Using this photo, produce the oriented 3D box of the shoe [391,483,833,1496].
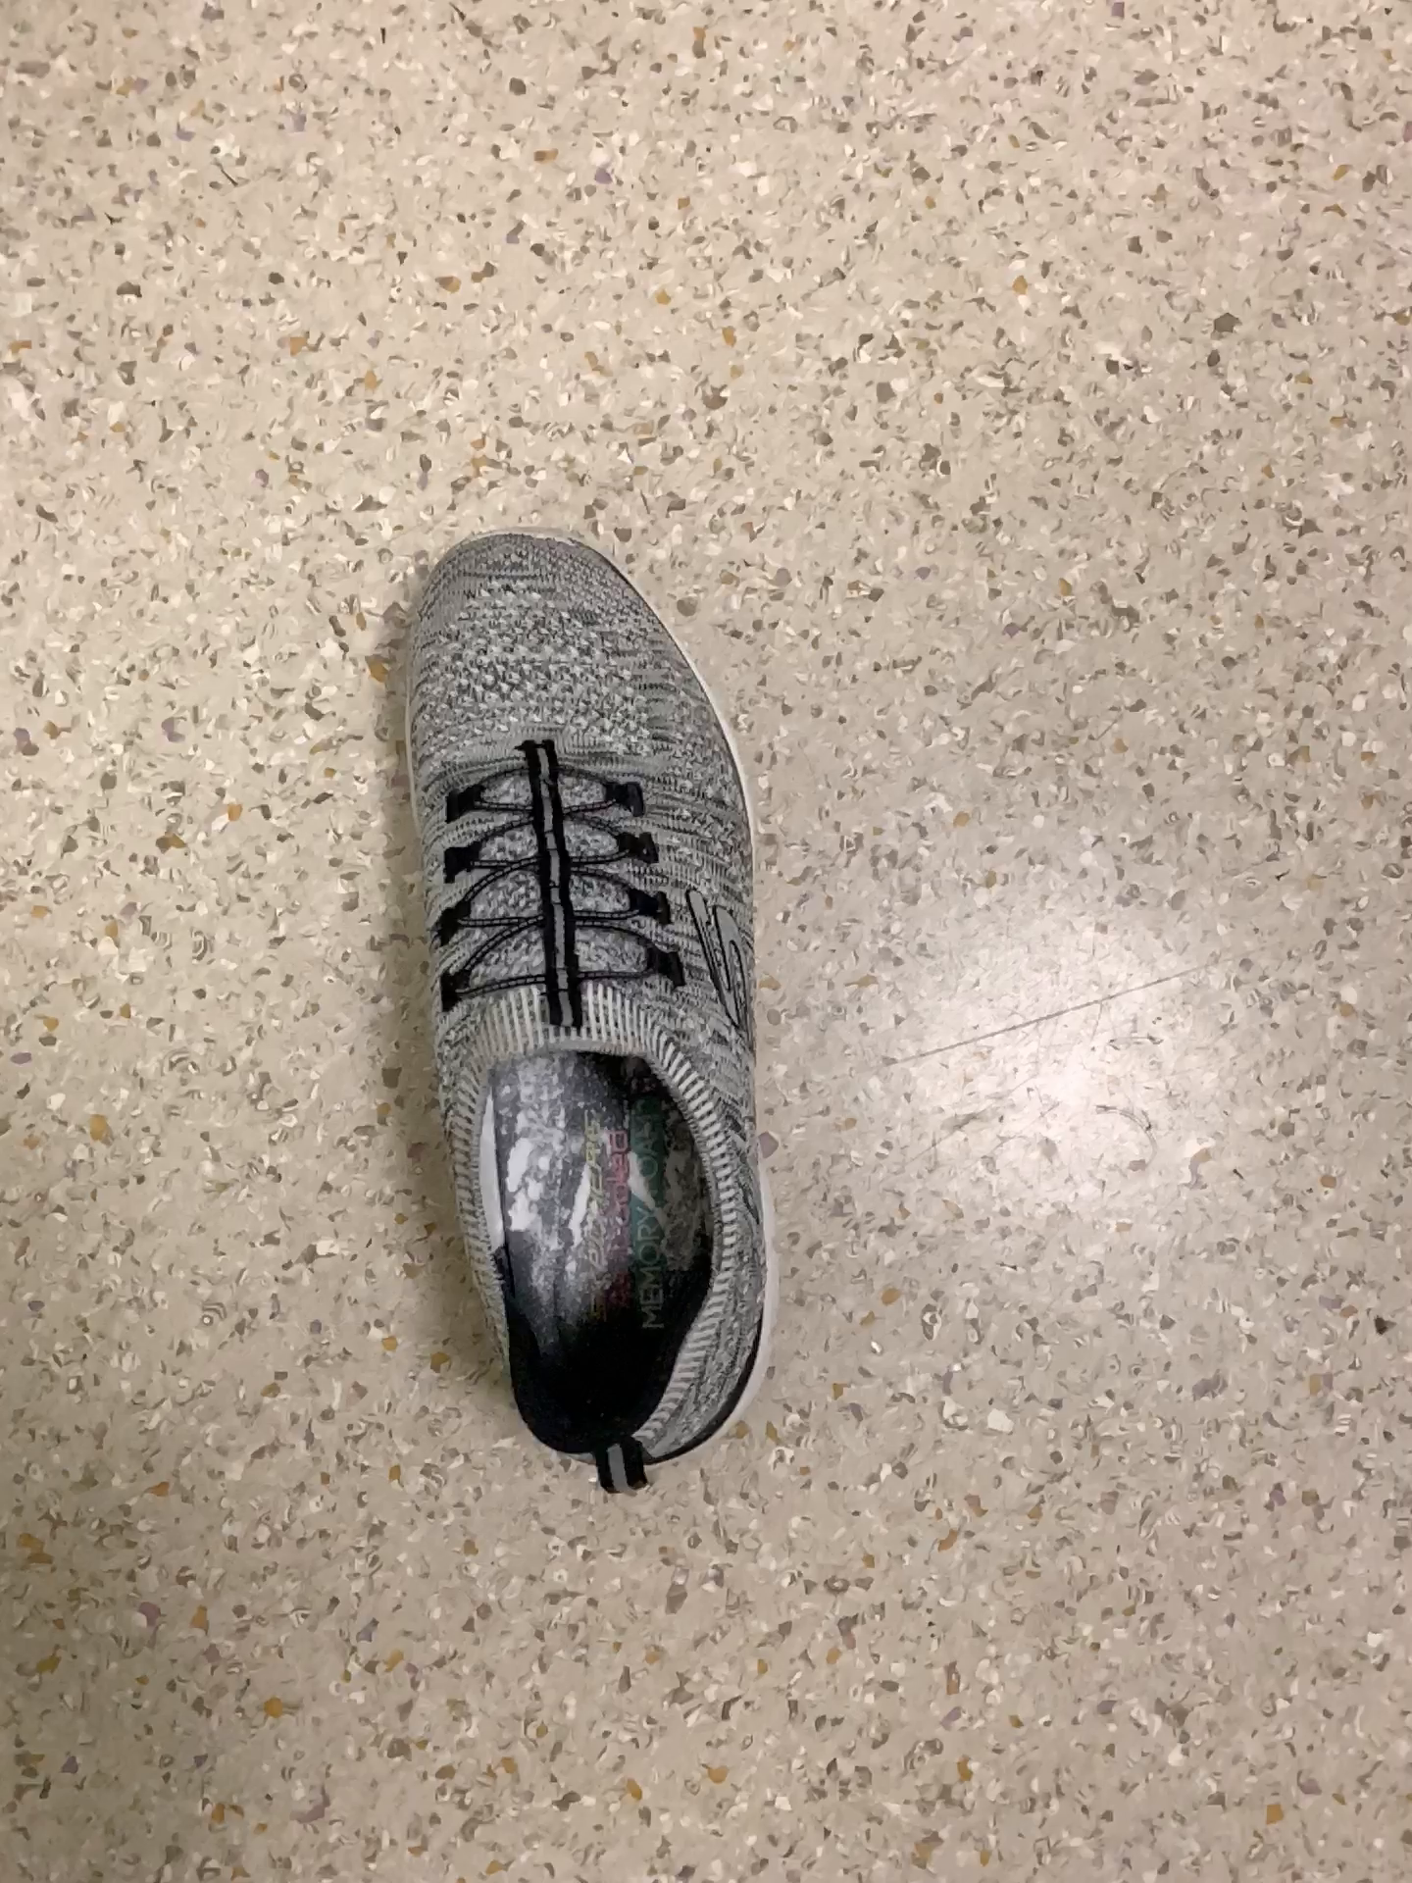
[{"bbox_3d":[-0.026,0.011,0.397,0.094,0.093,0.241,-3,84,-3],"label":"shoe"}]
